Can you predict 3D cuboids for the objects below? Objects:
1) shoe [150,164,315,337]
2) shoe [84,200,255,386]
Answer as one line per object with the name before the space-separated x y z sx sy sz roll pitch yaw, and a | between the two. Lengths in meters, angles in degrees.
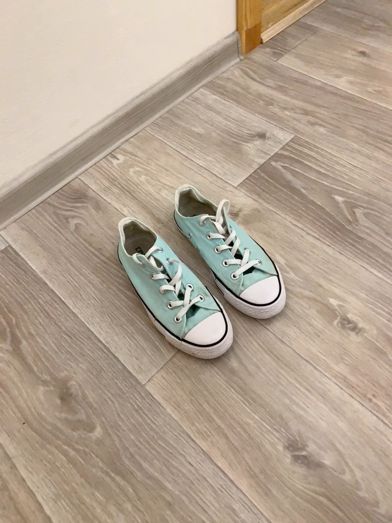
shoe | 0.042 -0.027 0.576 0.100 0.060 0.251 -30 58 -13
shoe | -0.042 0.031 0.538 0.092 0.060 0.251 -35 59 -16
